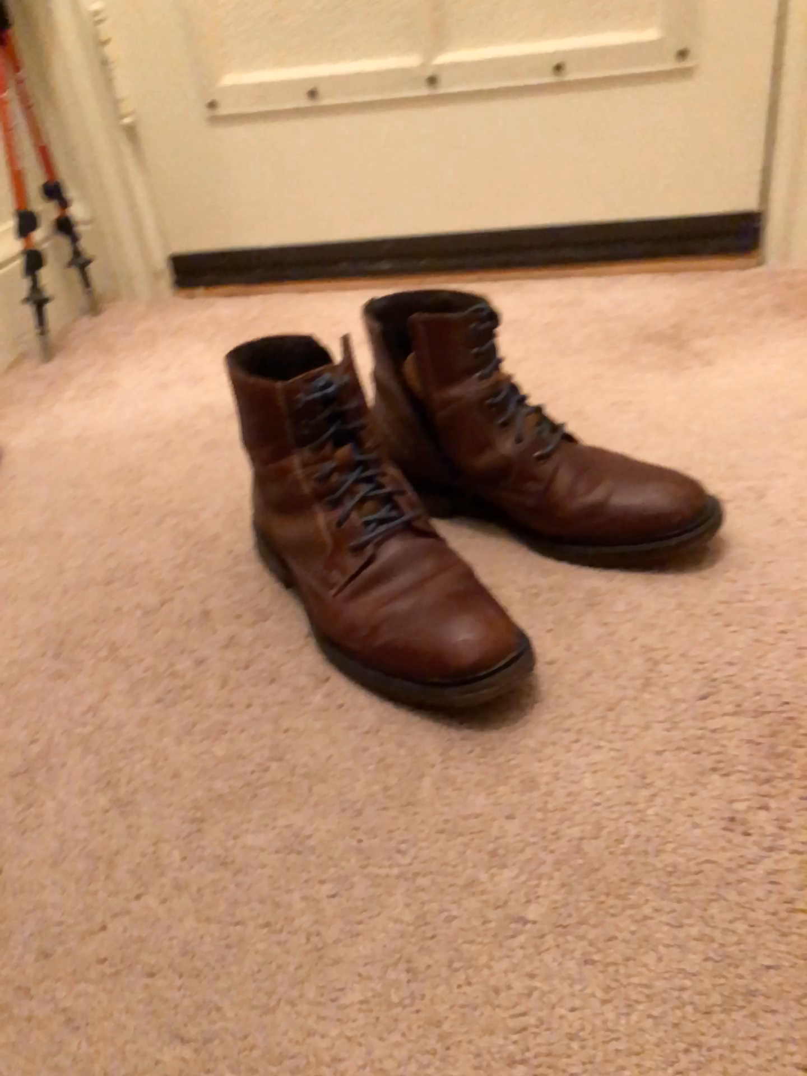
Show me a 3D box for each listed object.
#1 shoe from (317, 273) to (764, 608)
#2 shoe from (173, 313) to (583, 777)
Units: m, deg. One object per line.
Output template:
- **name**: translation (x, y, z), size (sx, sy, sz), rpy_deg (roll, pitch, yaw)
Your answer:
- **shoe**: translation (0.098, -0.088, 0.688), size (0.302, 0.172, 0.111), rpy_deg (17, 41, 32)
- **shoe**: translation (-0.028, -0.018, 0.616), size (0.113, 0.172, 0.317), rpy_deg (-25, 38, -23)
